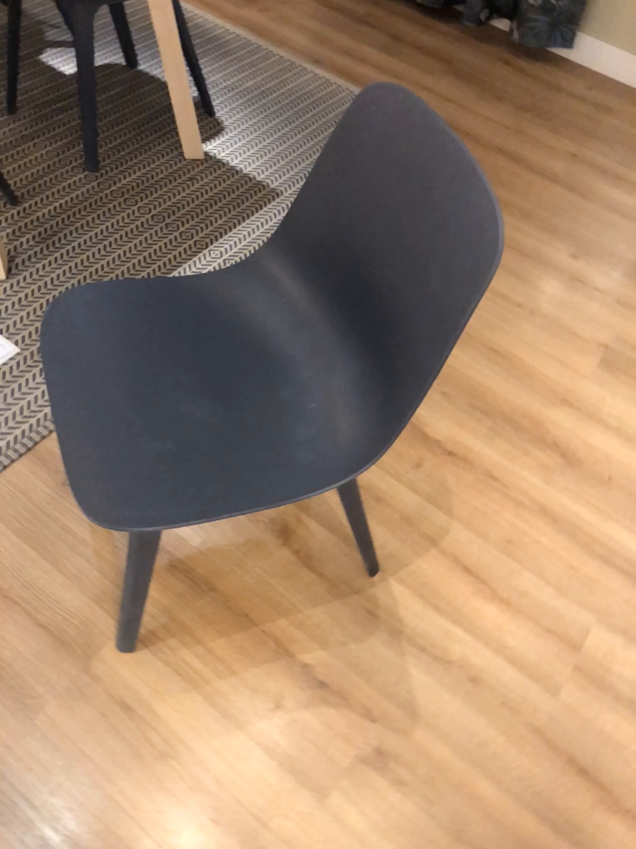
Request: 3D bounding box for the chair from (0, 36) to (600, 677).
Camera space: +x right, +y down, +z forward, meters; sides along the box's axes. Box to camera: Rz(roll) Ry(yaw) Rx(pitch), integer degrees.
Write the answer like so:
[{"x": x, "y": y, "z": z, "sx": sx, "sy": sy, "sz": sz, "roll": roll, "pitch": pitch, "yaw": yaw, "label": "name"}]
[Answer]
[{"x": -0.107, "y": -0.063, "z": 1.021, "sx": 0.560, "sy": 0.728, "sz": 0.471, "roll": -13, "pitch": 56, "yaw": -18, "label": "chair"}]
